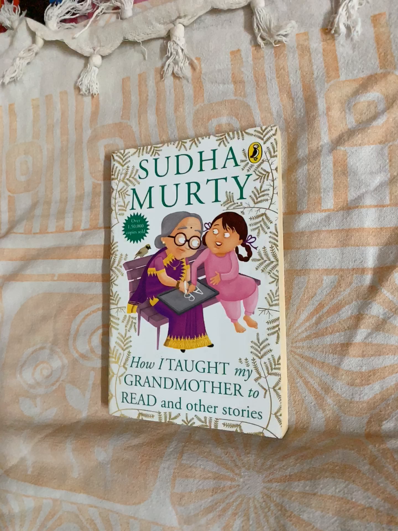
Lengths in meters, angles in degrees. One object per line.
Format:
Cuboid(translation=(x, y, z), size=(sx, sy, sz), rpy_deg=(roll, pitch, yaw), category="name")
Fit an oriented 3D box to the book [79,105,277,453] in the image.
Cuboid(translation=(-0.017, 0.007, 0.272), size=(0.130, 0.020, 0.200), rpy_deg=(-3, 82, 25), category="book")
